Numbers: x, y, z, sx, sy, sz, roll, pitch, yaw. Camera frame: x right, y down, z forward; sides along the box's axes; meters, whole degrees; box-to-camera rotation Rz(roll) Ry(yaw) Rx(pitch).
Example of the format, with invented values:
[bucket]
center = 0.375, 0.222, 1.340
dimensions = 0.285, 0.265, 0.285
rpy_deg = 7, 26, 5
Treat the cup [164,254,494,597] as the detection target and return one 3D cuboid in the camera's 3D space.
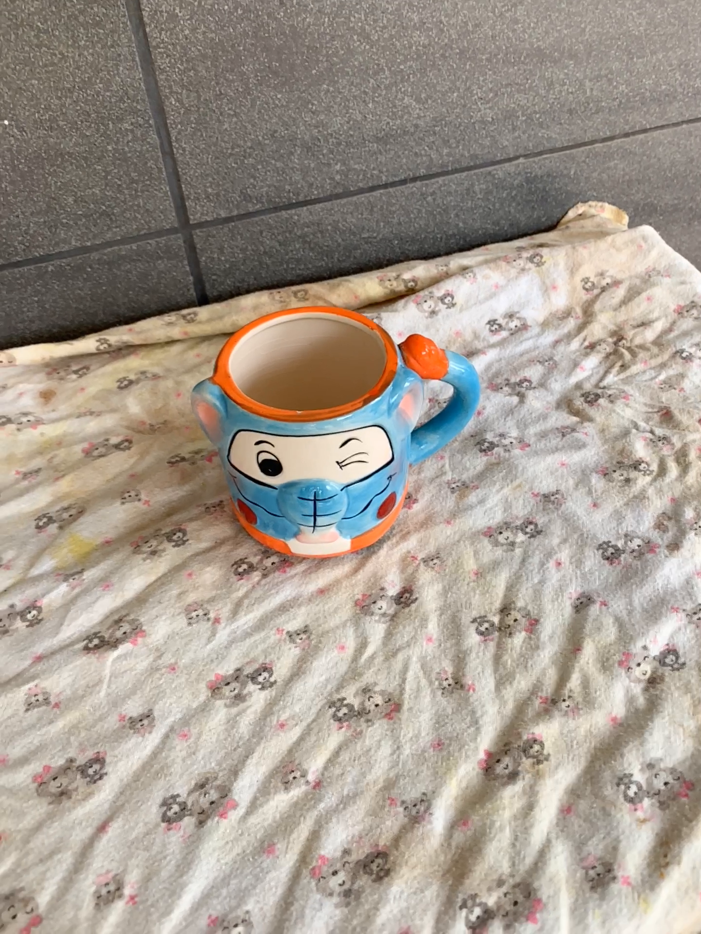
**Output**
[cup]
center = -0.011, -0.019, 0.307
dimensions = 0.110, 0.090, 0.090
rpy_deg = -11, 46, -7
